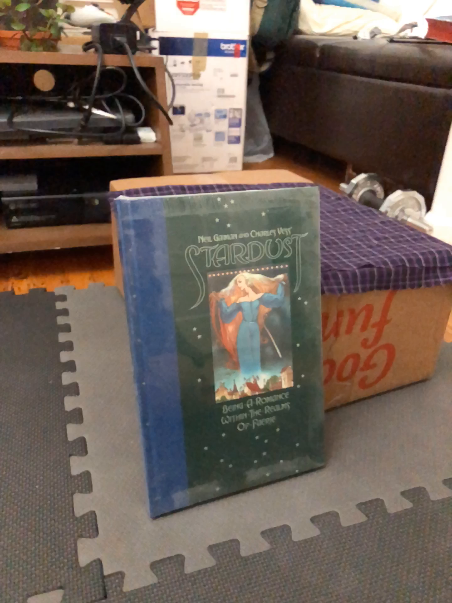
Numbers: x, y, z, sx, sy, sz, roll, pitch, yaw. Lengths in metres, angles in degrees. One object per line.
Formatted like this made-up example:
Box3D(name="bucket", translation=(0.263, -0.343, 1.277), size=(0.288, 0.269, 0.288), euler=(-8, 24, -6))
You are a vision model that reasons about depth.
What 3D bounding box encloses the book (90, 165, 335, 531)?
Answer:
Box3D(name="book", translation=(0.000, 0.040, 0.505), size=(0.220, 0.329, 0.050), euler=(-9, 15, -21))
